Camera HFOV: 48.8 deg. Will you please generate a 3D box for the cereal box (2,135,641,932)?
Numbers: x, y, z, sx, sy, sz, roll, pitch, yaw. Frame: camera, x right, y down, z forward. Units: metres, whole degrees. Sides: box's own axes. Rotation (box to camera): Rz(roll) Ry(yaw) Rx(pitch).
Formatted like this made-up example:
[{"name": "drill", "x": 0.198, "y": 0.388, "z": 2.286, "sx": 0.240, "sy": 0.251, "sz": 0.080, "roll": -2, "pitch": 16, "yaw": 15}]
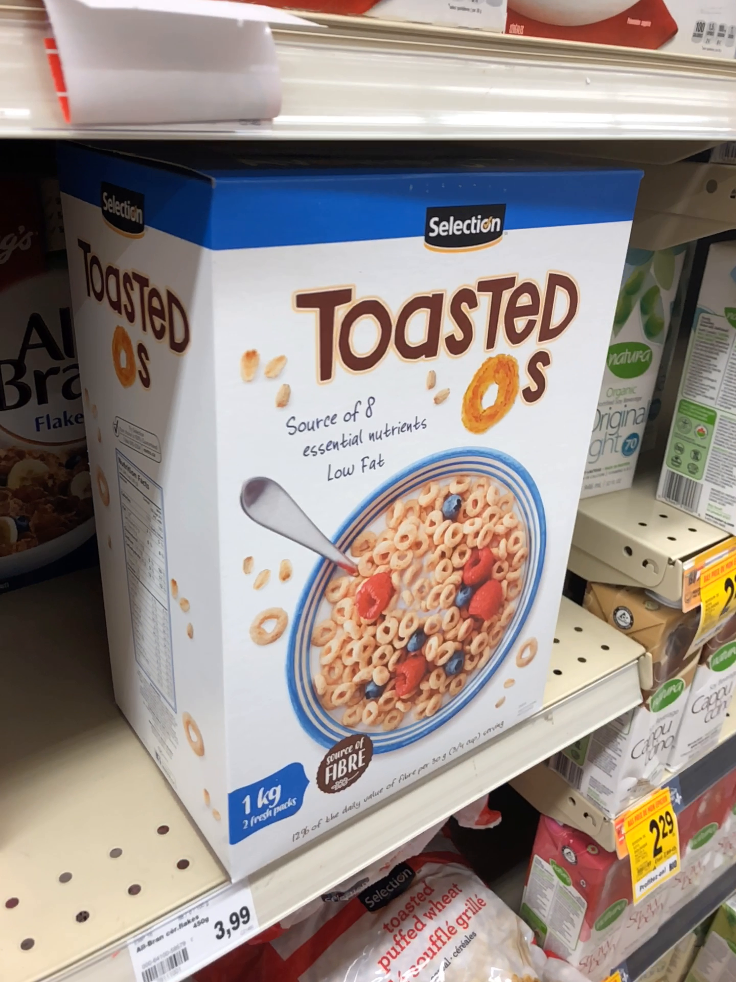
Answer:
[{"name": "cereal box", "x": -0.022, "y": -0.003, "z": 0.438, "sx": 0.241, "sy": 0.338, "sz": 0.161, "roll": -17, "pitch": 31, "yaw": -34}]
